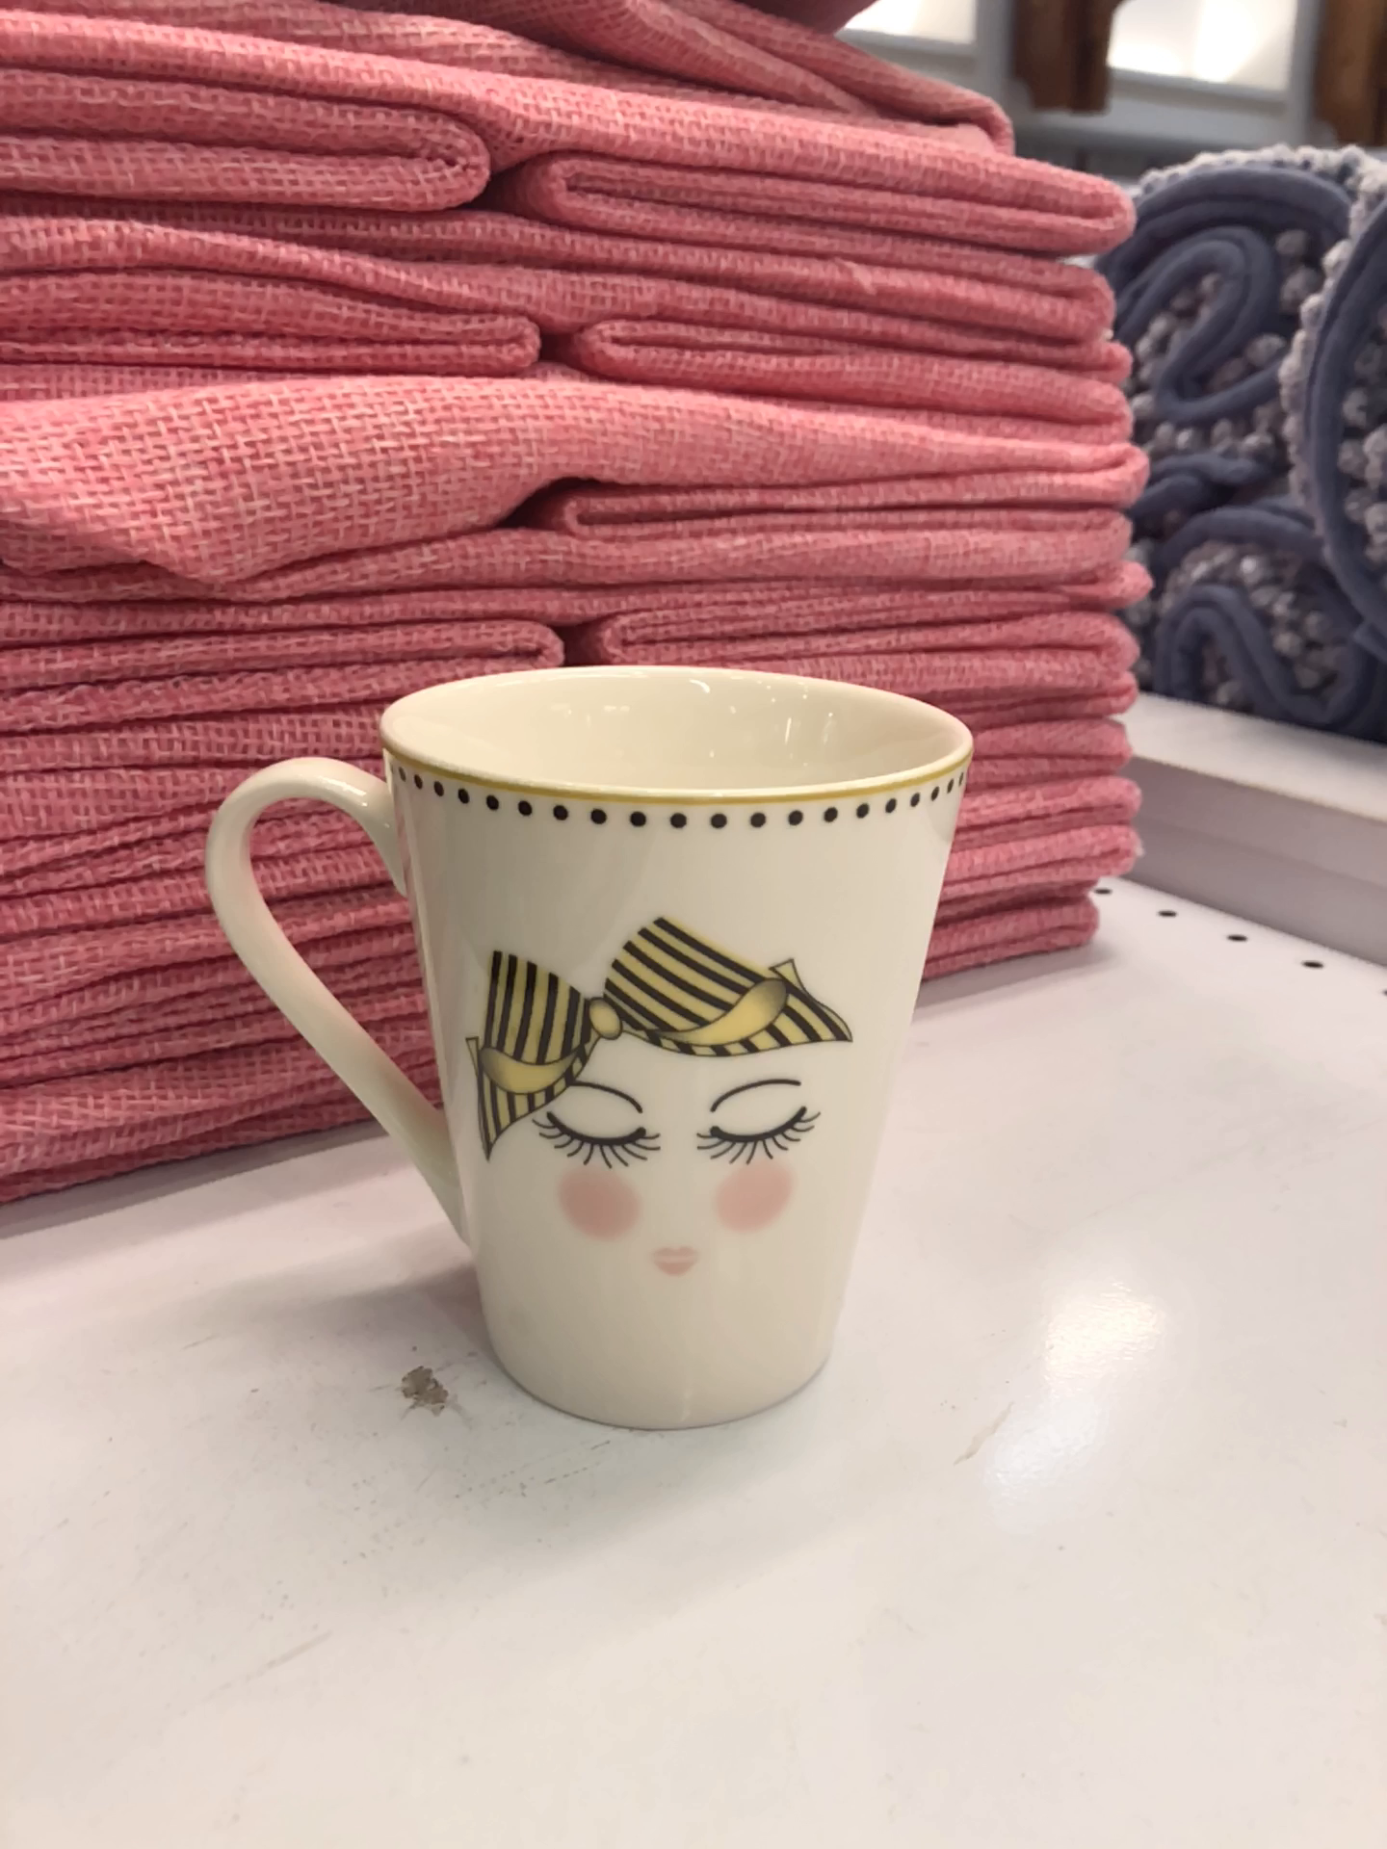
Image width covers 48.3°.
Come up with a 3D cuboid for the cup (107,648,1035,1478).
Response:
[{"bbox_3d":[-0.014,0.015,0.242,0.110,0.099,0.091,0,20,0],"label":"cup"}]
